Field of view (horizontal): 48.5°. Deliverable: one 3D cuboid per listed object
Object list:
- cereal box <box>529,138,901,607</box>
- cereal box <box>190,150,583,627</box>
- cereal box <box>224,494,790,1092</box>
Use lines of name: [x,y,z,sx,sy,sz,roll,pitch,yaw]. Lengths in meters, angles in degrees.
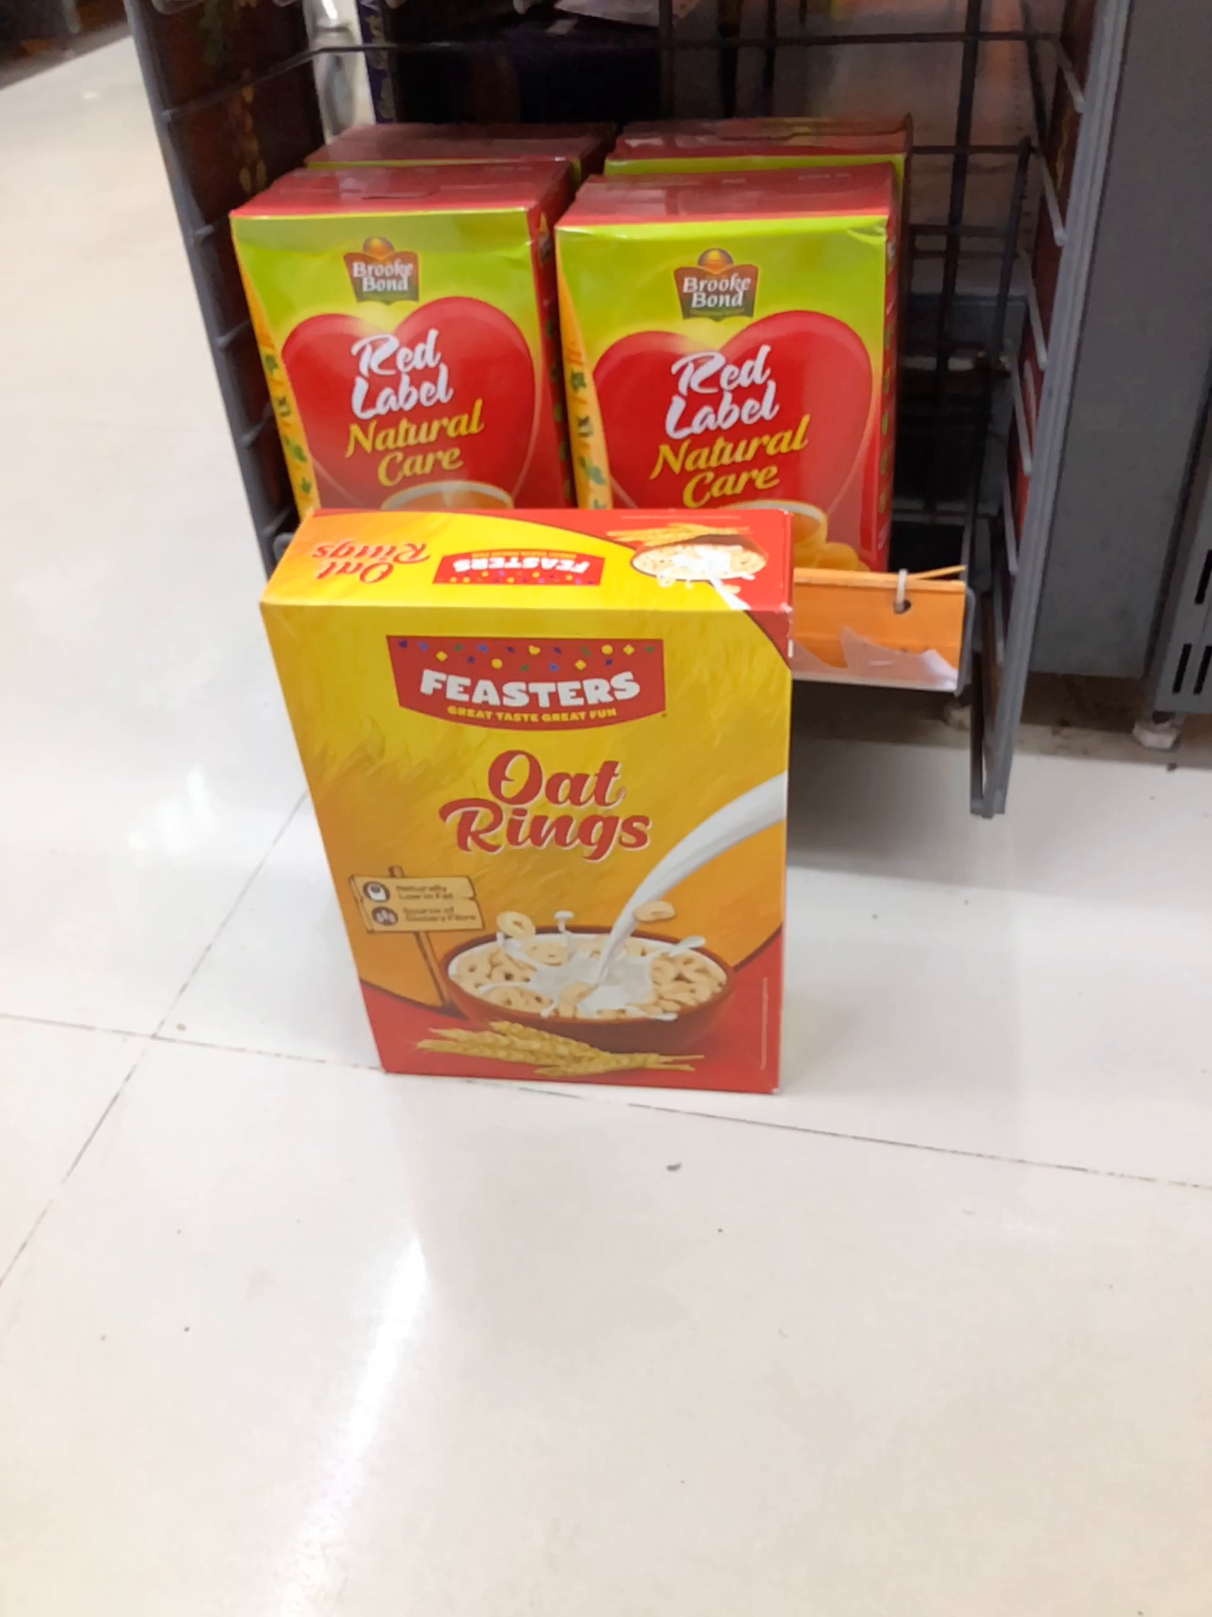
cereal box: [0.042,-0.163,0.513,0.120,0.149,0.081,1,39,6]
cereal box: [-0.081,-0.173,0.562,0.120,0.169,0.081,4,40,9]
cereal box: [-0.022,0.002,0.494,0.170,0.219,0.070,1,39,6]
